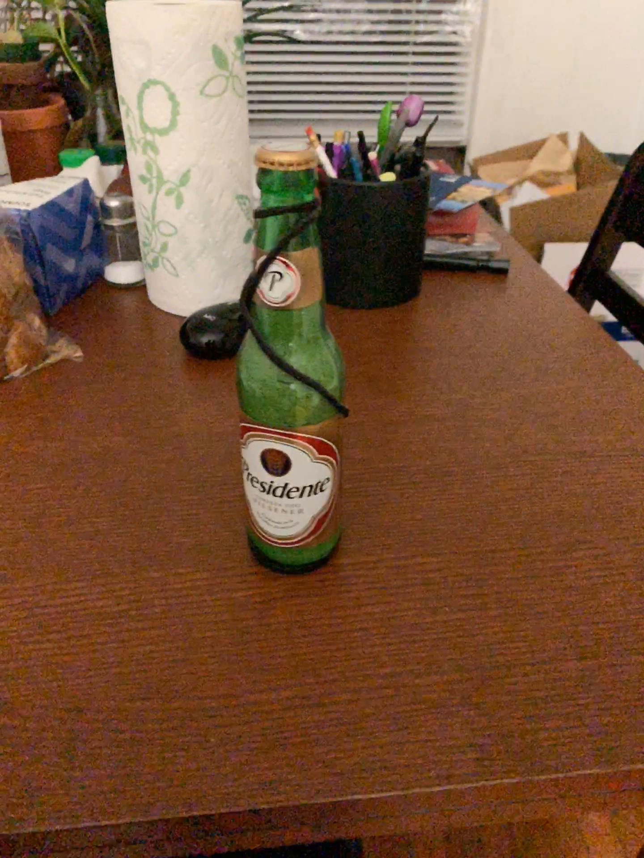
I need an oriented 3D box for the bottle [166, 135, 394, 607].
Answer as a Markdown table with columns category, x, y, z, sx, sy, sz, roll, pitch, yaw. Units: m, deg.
| category | x | y | z | sx | sy | sz | roll | pitch | yaw |
| --- | --- | --- | --- | --- | --- | --- | --- | --- | --- |
| bottle | -0.016 | -0.021 | 0.360 | 0.080 | 0.239 | 0.070 | 11 | 36 | 15 |
